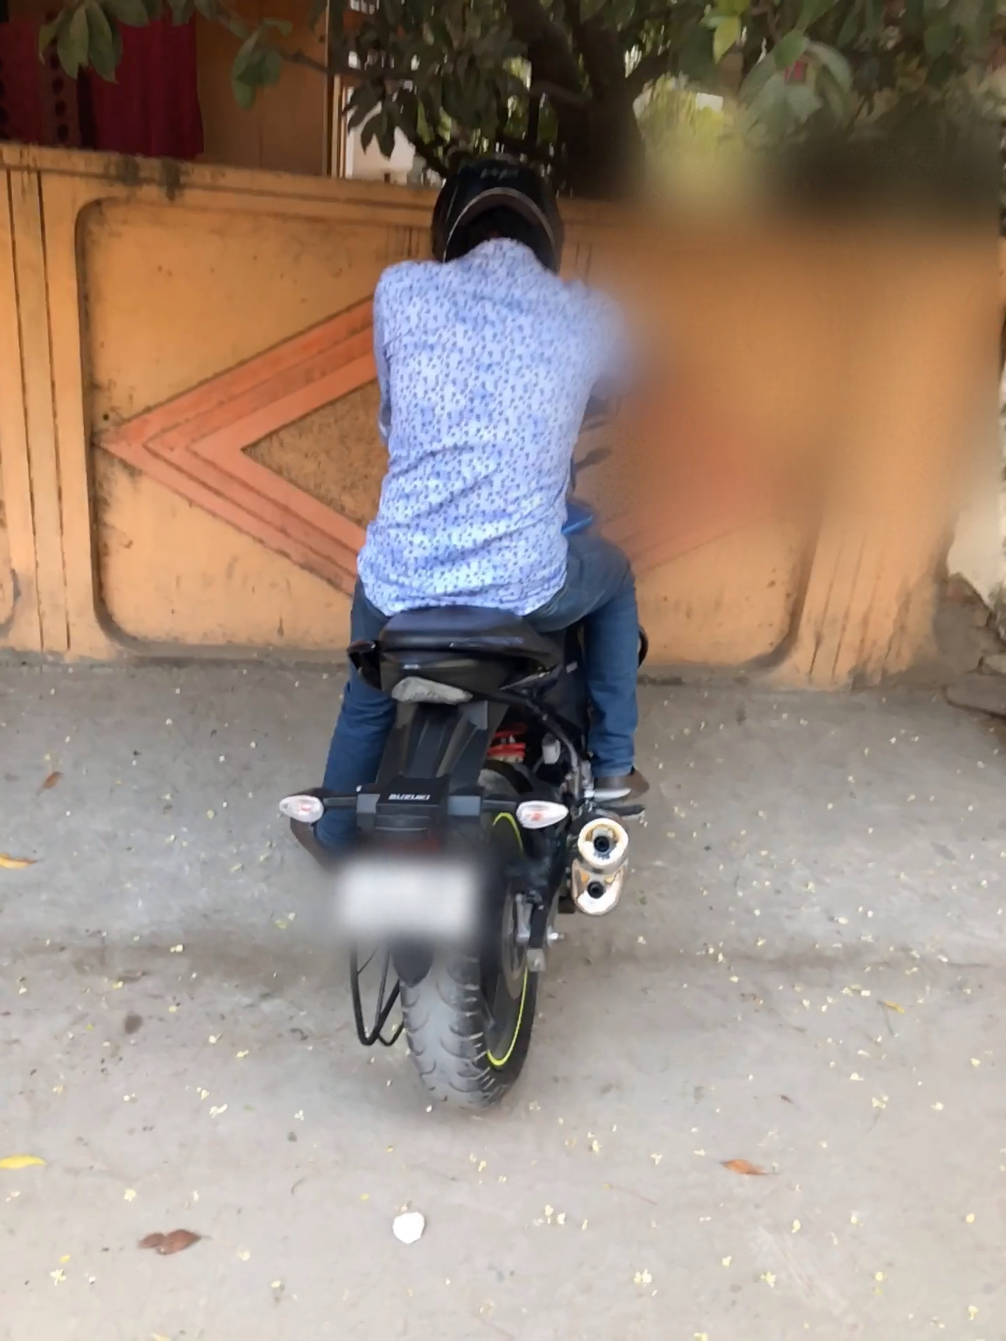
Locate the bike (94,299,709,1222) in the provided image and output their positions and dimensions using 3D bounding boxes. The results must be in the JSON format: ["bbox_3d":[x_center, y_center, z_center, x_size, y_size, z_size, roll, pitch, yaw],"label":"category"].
[{"bbox_3d":[-0.138,-0.088,2.476,0.793,1.188,1.898,7,23,2],"label":"bike"}]
